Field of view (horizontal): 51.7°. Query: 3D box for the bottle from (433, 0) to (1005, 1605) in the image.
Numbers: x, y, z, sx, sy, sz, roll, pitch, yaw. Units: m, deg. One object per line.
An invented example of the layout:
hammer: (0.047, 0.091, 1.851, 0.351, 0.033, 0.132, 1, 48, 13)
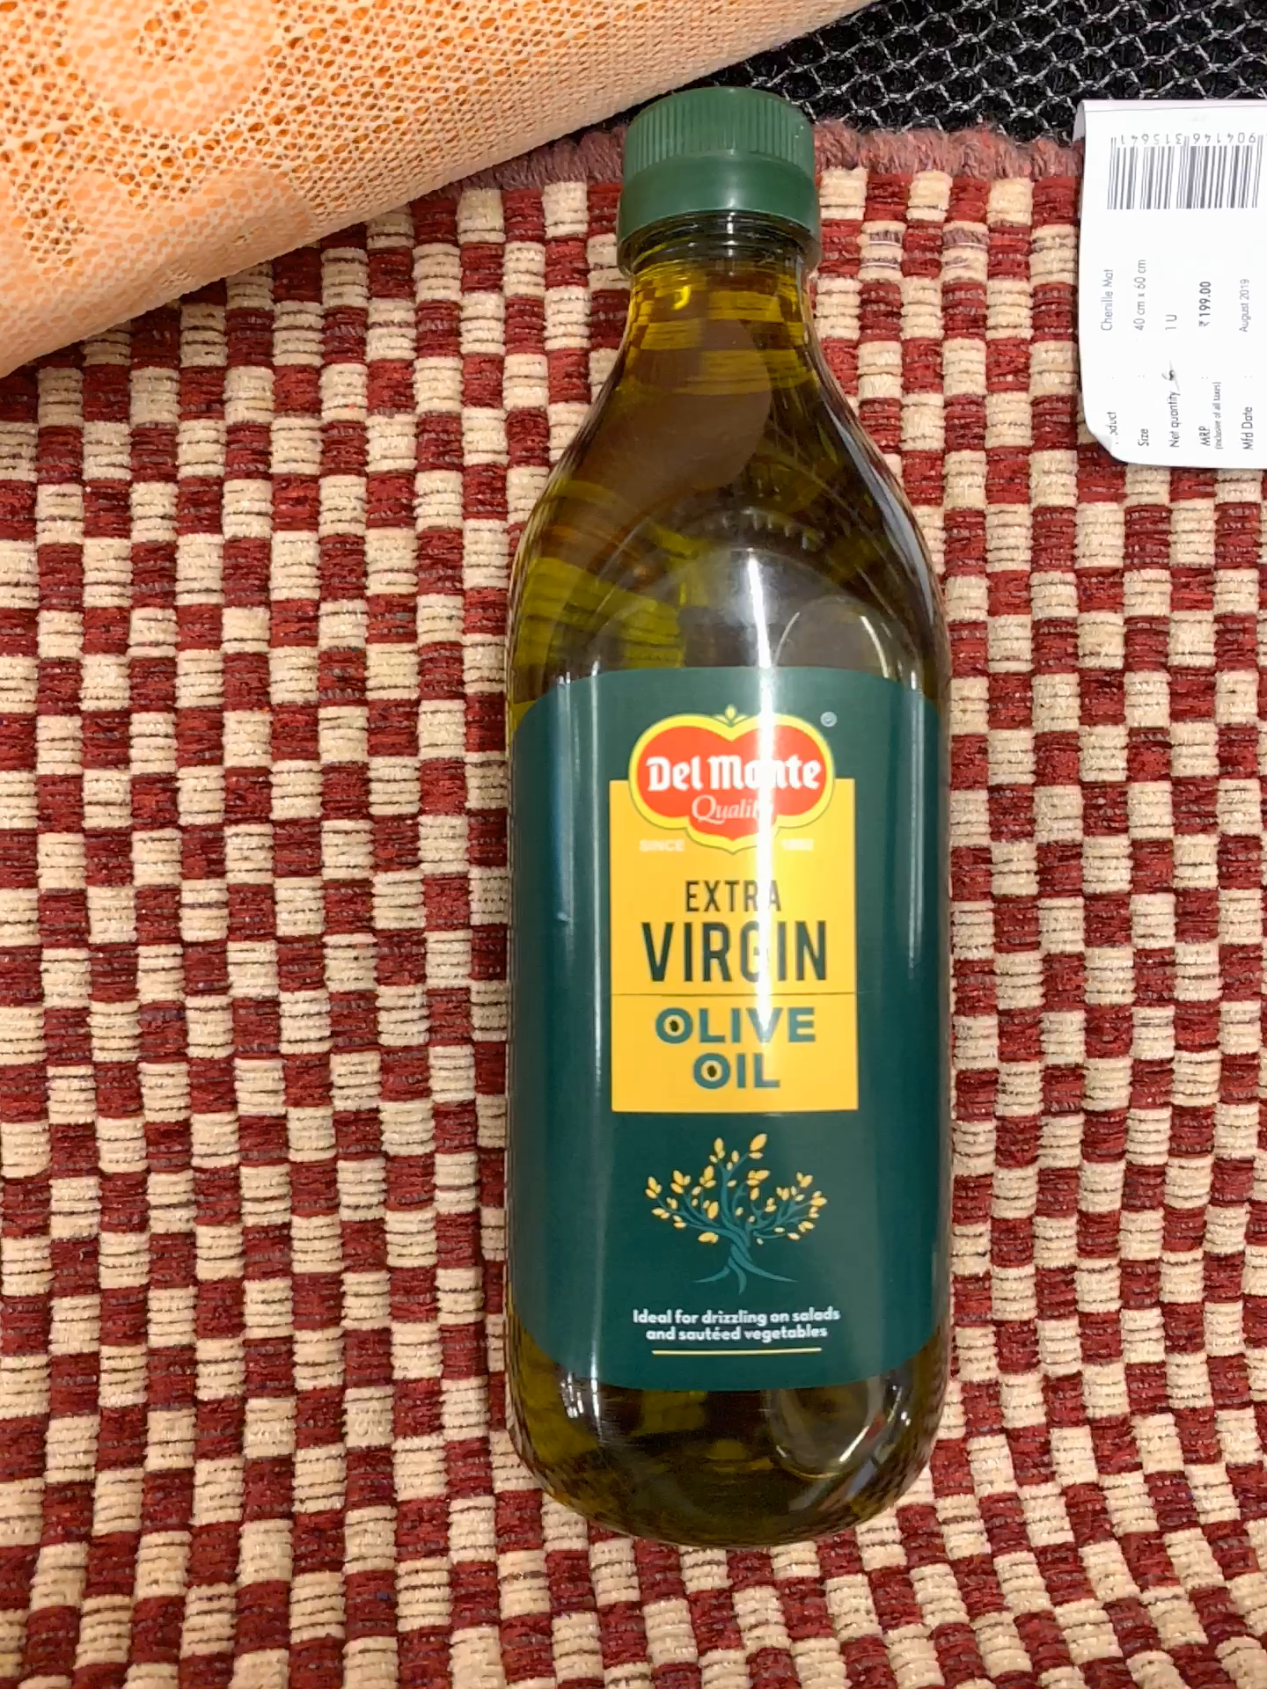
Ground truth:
bottle: (0.008, -0.013, 0.237, 0.080, 0.080, 0.250, 1, 91, -11)
